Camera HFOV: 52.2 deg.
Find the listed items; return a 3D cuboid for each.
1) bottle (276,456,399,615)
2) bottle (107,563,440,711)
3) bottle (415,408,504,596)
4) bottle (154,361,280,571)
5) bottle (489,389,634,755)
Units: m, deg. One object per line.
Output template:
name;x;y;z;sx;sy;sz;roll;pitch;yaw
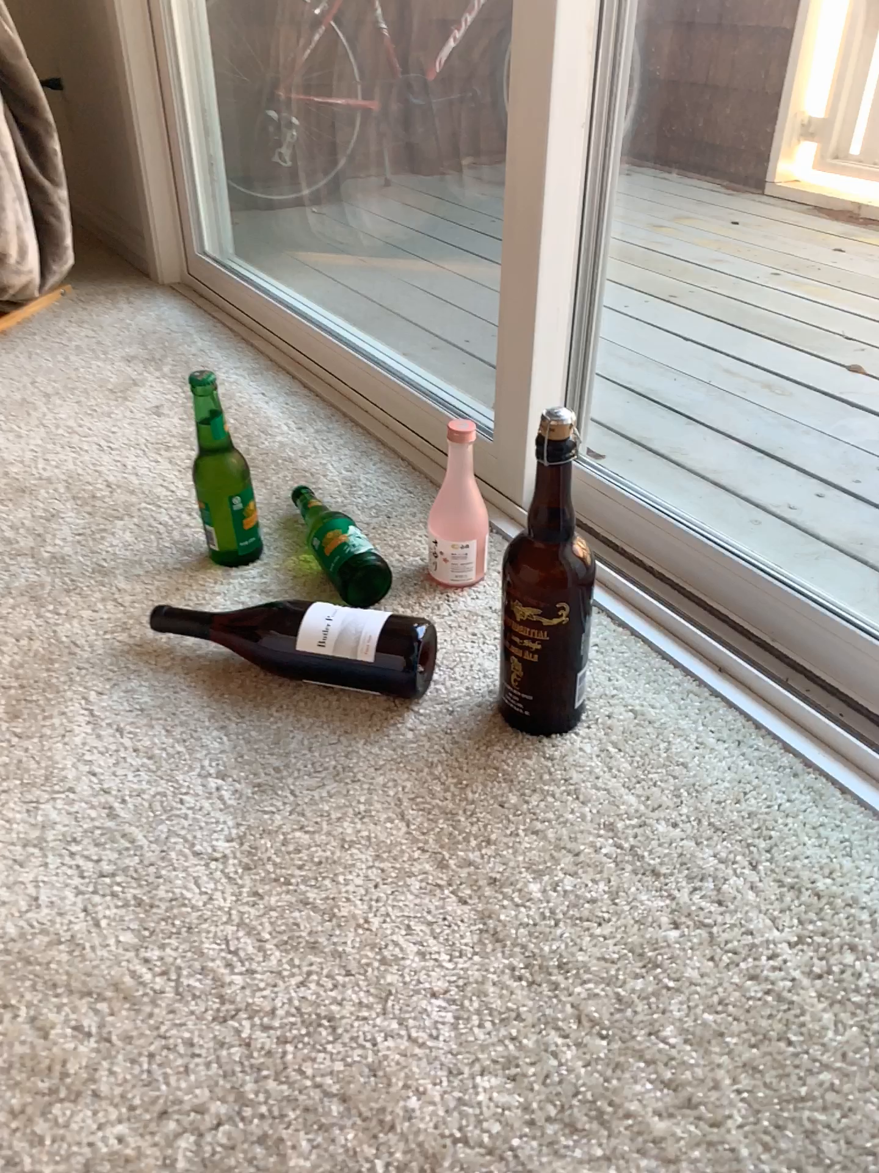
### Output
bottle;-0.117;-0.063;0.992;0.060;0.060;0.231;-14;38;-21
bottle;-0.149;0.043;0.823;0.290;0.060;0.070;9;35;11
bottle;0.020;-0.088;0.942;0.070;0.169;0.080;10;35;13
bottle;-0.233;-0.128;0.963;0.080;0.199;0.080;1;34;0
bottle;0.097;-0.005;0.742;0.080;0.288;0.090;10;35;13
